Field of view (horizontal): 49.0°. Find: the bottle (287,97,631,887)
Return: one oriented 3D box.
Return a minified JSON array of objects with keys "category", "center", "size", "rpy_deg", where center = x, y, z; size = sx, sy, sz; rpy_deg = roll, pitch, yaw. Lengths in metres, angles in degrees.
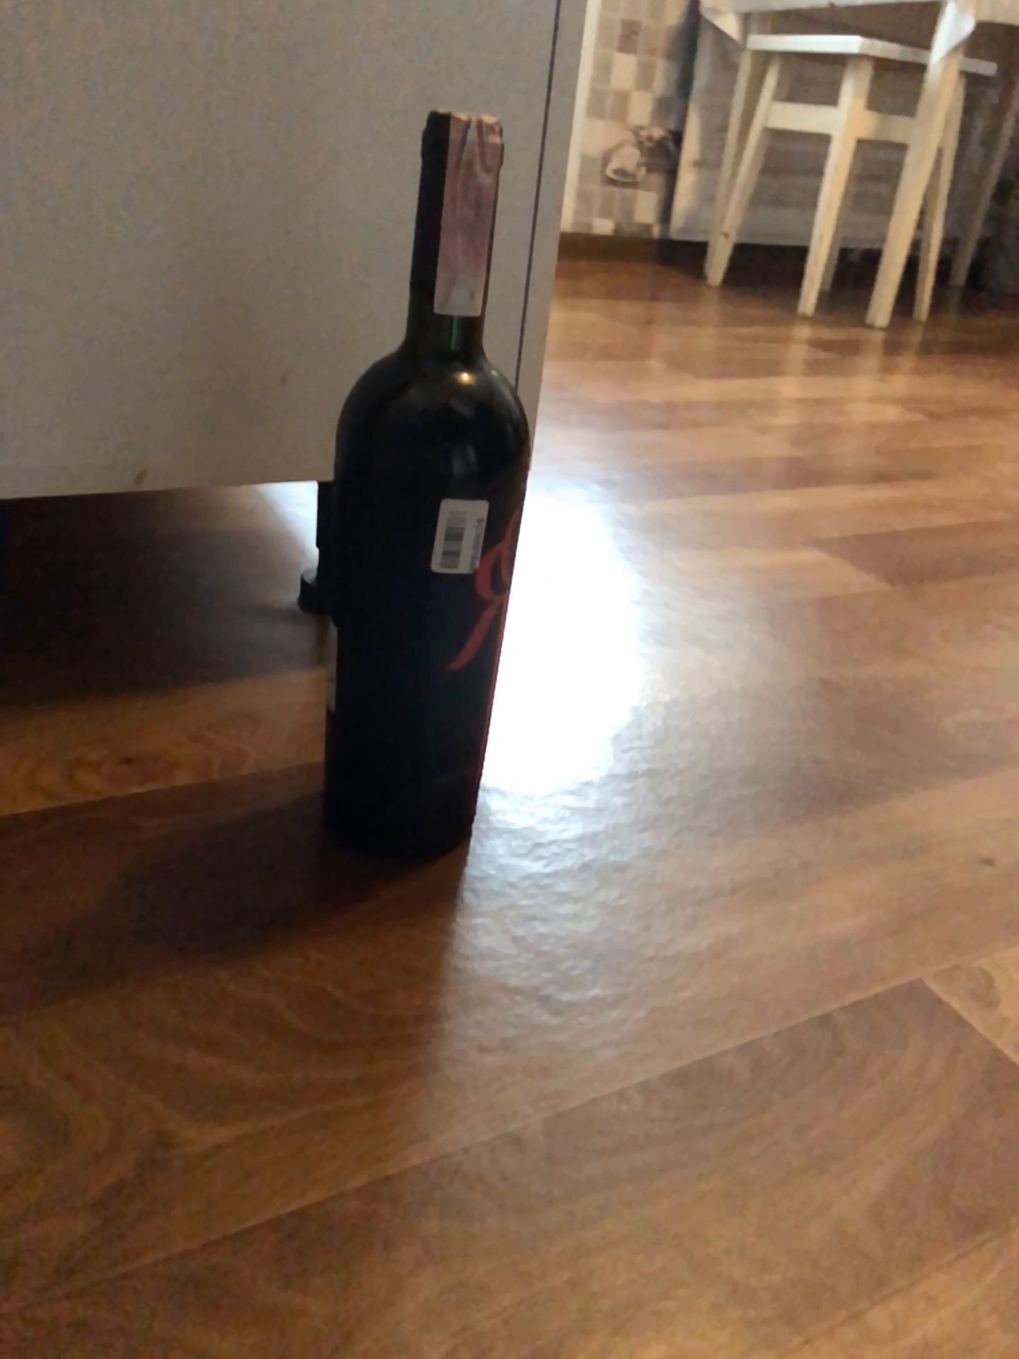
[{"category":"bottle","center":[-0.034,-0.069,0.465],"size":[0.090,0.297,0.090],"rpy_deg":[5,27,-3]}]
